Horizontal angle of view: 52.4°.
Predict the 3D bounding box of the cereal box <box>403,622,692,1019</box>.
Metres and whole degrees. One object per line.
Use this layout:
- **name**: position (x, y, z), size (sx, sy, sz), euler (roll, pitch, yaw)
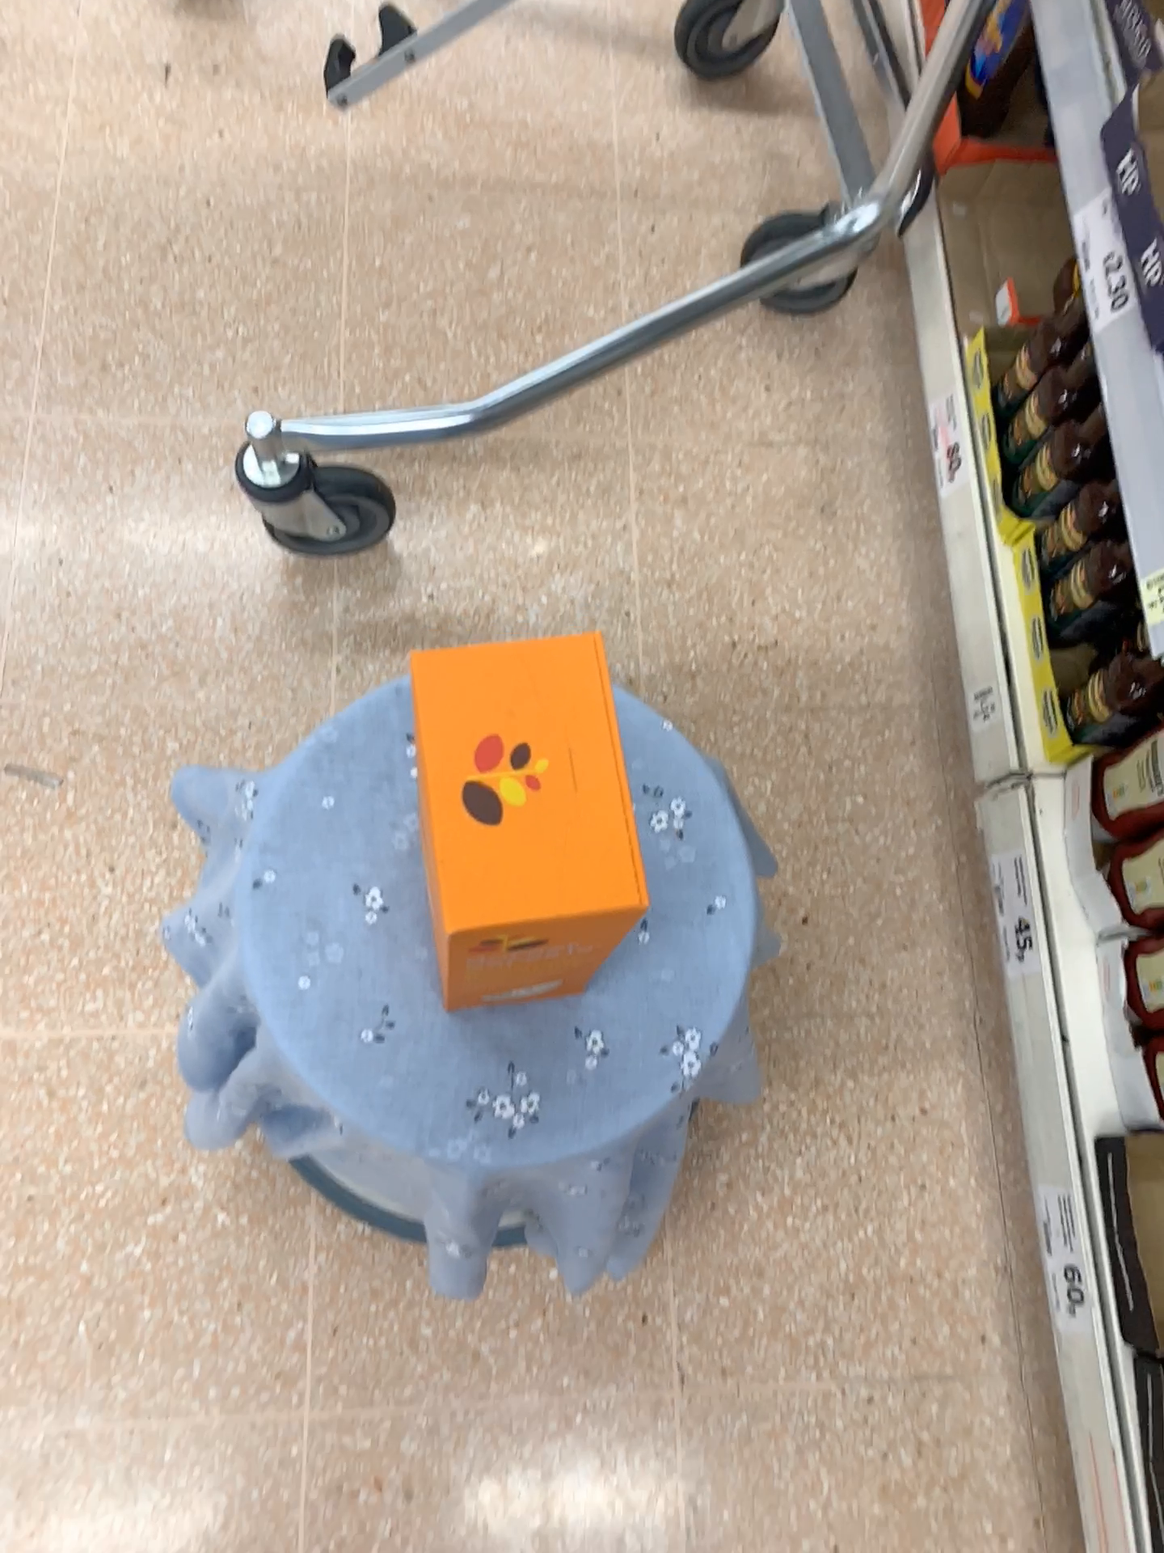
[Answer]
- **cereal box**: position (-0.027, 0.035, 0.558), size (0.090, 0.229, 0.120), euler (-8, 74, -9)
